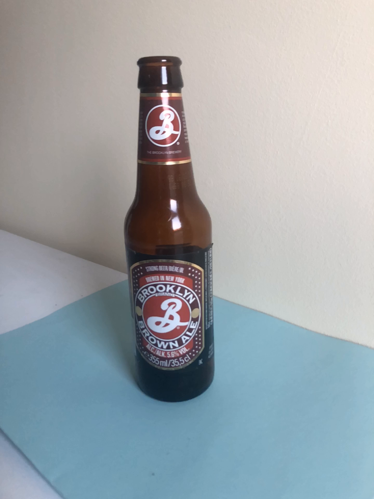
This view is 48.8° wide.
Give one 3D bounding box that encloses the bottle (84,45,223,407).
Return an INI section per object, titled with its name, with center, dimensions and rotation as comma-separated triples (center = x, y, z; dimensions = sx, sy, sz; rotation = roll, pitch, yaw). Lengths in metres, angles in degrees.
[bottle]
center = -0.012, -0.009, 0.285
dimensions = 0.070, 0.229, 0.070
rotation = -2, 20, 1
